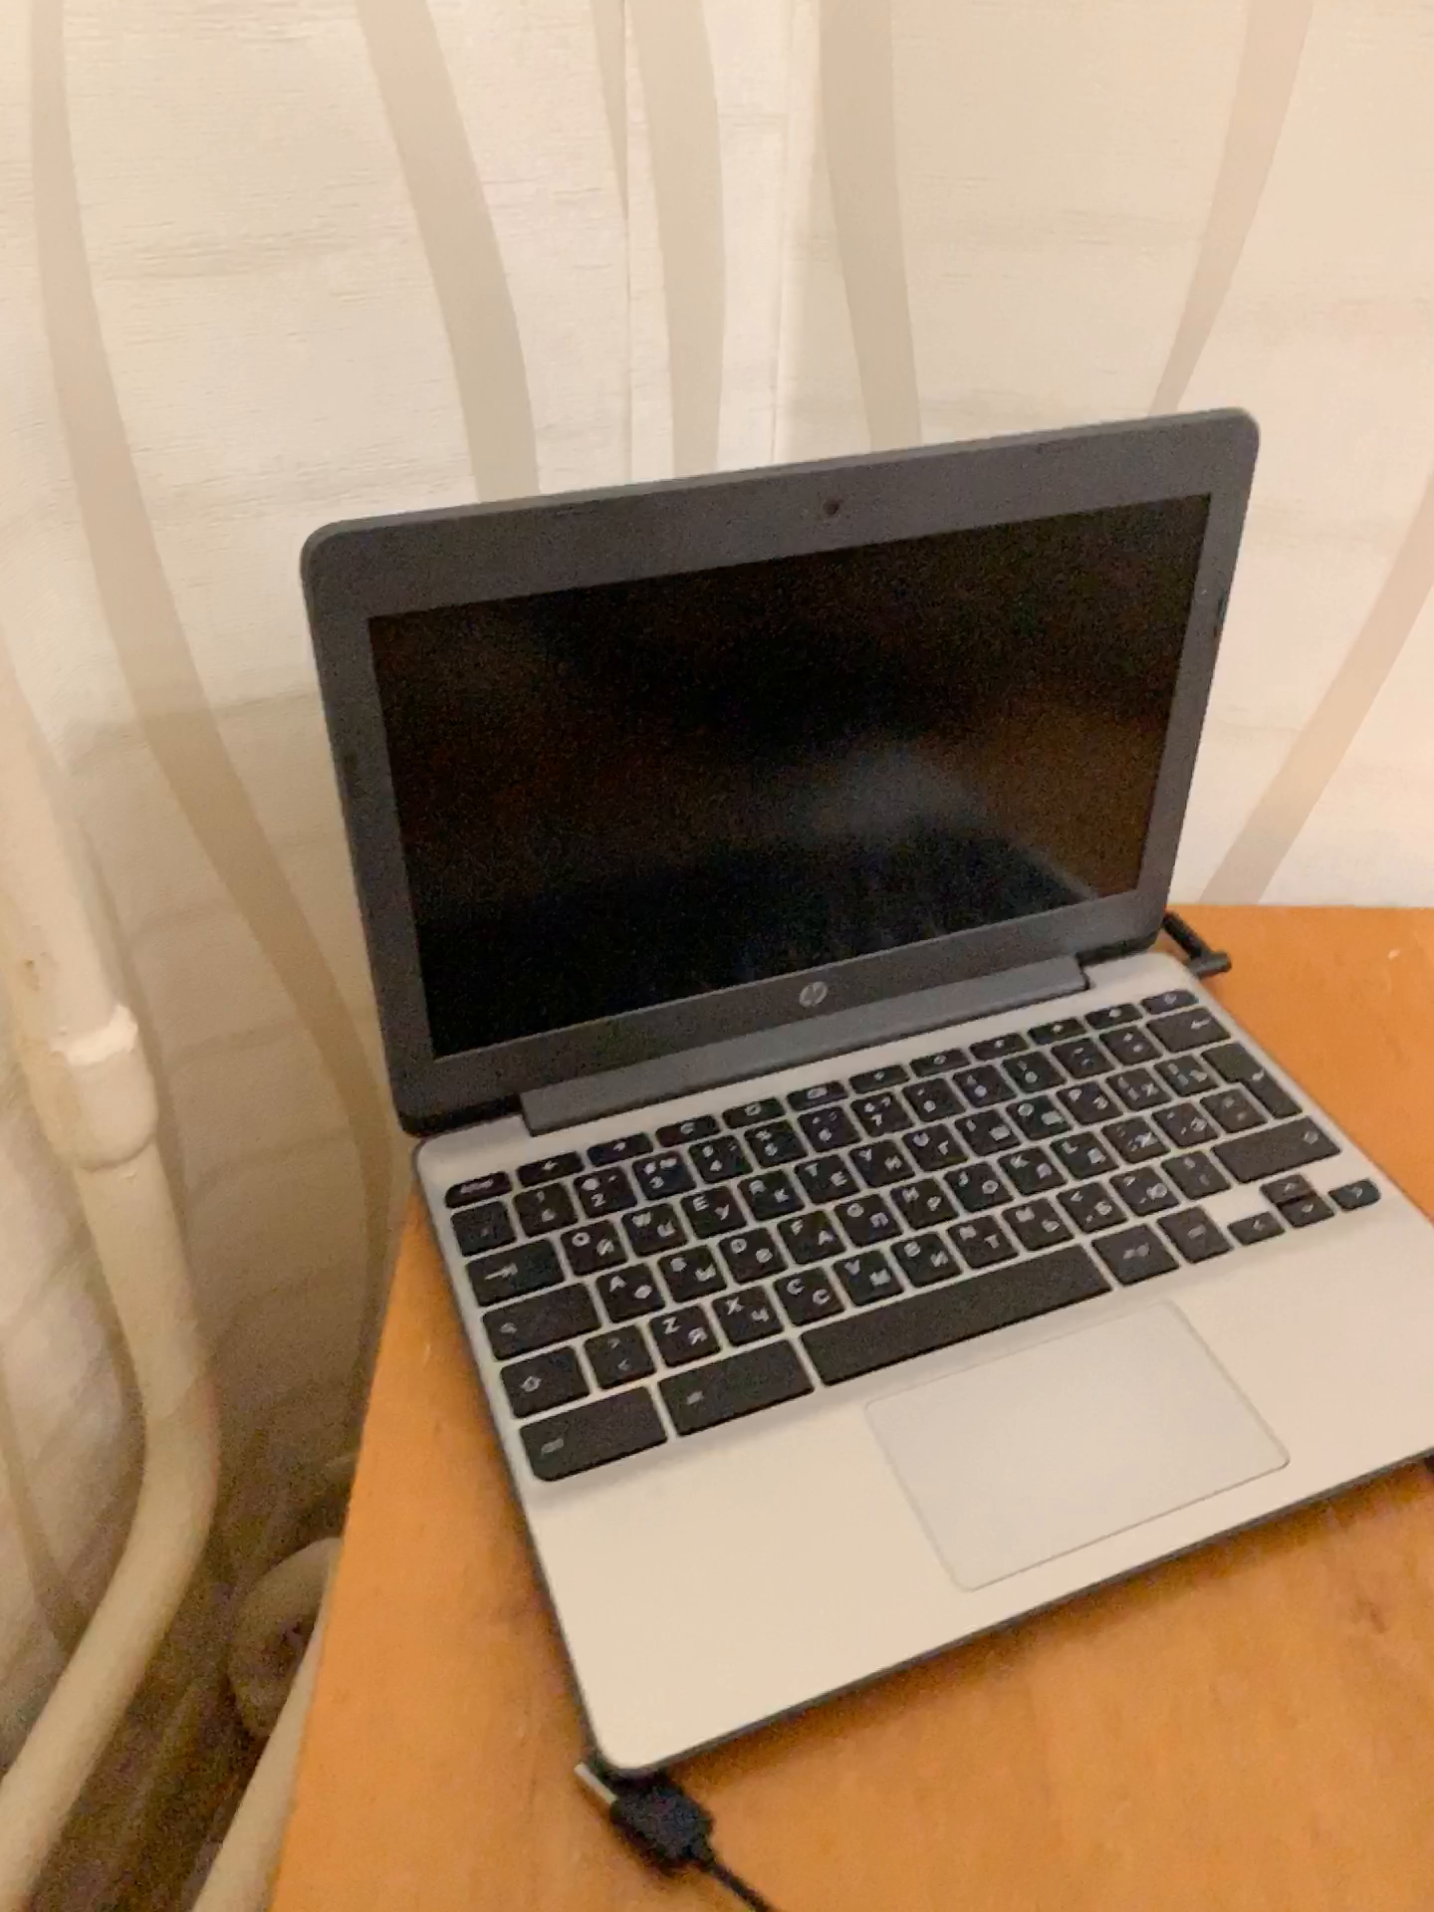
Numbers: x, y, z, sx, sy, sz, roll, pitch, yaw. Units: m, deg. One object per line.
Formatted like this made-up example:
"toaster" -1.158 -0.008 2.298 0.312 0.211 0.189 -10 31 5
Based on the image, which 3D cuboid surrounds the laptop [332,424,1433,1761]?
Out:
"laptop" 0.069 0.007 0.372 0.271 0.187 0.207 -13 40 -18
